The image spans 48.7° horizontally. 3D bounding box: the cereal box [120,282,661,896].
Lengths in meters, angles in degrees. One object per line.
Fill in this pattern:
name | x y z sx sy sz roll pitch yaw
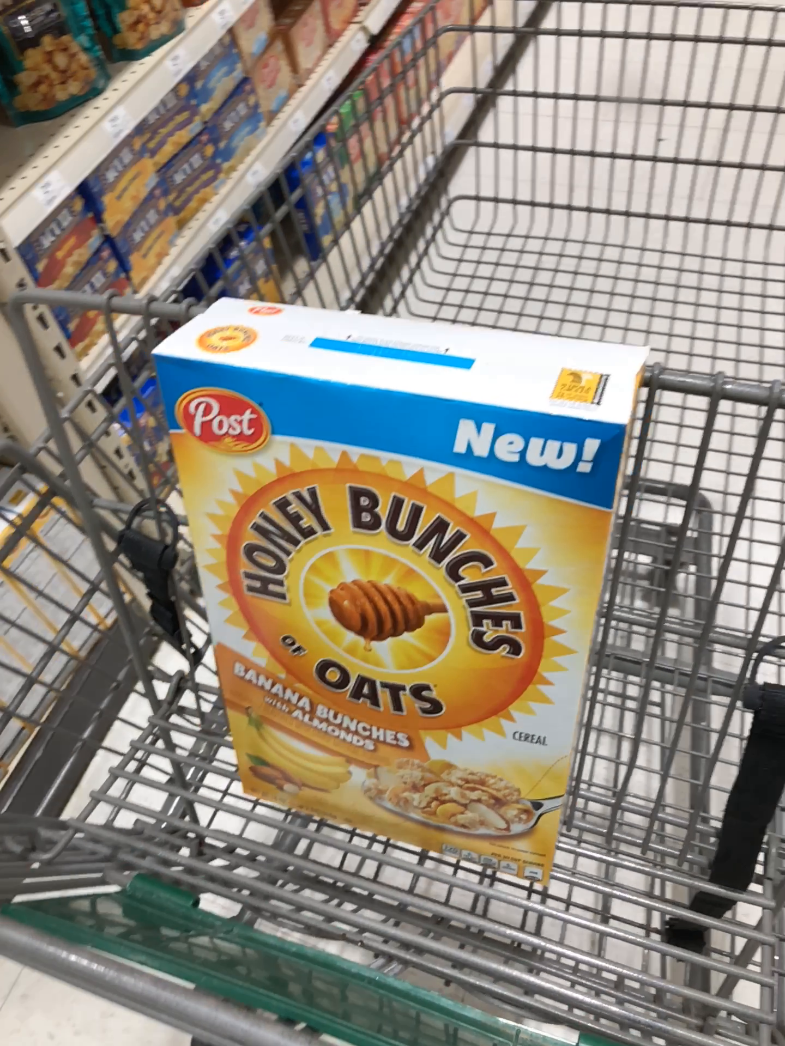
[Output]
cereal box | 0.000 0.048 0.427 0.200 0.300 0.060 11 40 15
